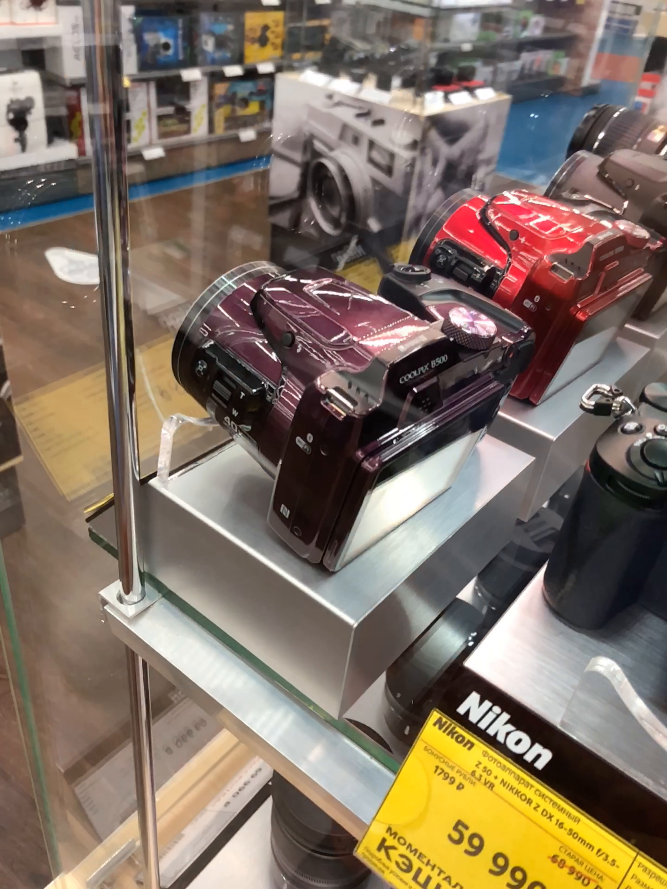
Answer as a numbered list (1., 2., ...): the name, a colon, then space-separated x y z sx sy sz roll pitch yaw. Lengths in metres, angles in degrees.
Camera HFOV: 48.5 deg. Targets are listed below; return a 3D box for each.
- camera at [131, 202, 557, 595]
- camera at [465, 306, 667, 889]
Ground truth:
1. camera: 0.002 -0.027 0.277 0.100 0.080 0.110 31 42 29
2. camera: 0.129 0.036 0.209 0.133 0.084 0.100 32 42 30
